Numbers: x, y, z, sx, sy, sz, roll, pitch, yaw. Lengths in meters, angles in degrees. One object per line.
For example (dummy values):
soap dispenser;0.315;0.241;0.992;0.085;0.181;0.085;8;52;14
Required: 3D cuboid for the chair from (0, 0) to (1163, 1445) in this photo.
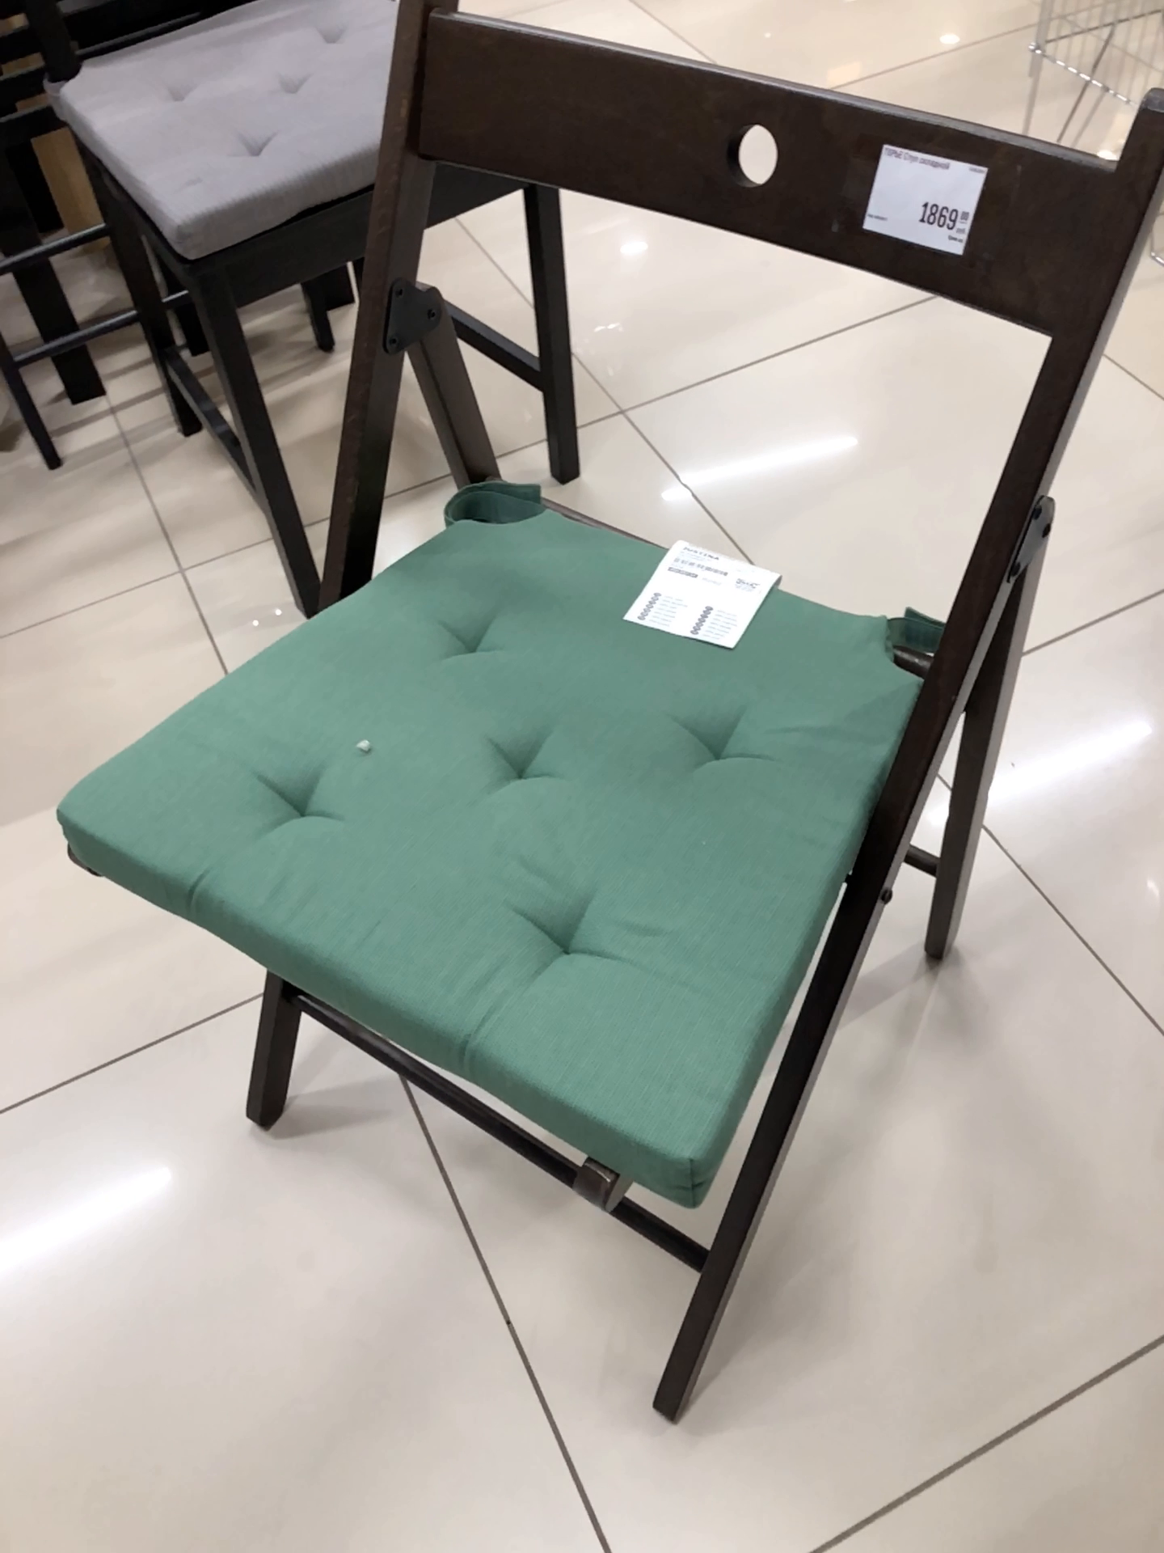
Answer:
chair;-0.003;-0.020;0.779;0.441;0.686;0.482;26;58;23
